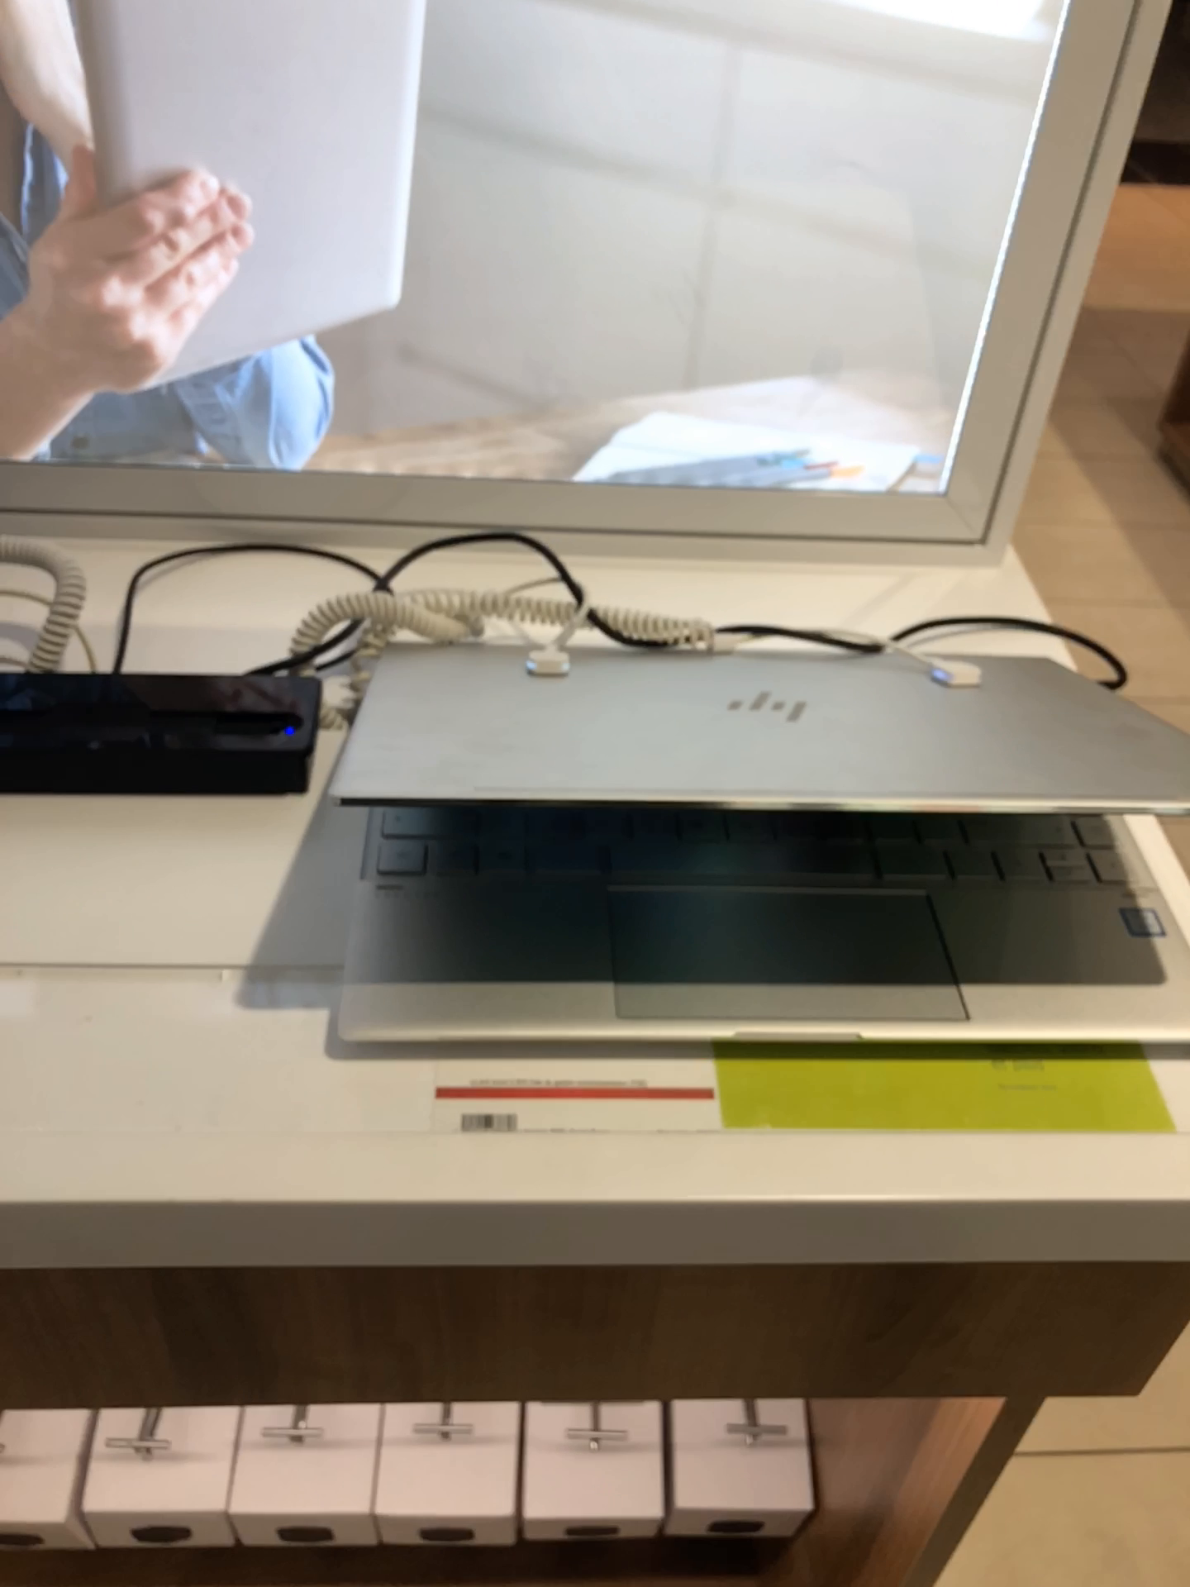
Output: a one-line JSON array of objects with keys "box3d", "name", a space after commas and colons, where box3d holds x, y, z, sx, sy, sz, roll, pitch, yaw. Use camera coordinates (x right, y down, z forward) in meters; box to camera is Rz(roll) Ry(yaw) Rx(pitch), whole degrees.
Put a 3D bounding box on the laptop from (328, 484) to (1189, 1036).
[{"box3d": [0.065, -0.021, 0.492, 0.298, 0.078, 0.212, 1, 42, -4], "name": "laptop"}]
